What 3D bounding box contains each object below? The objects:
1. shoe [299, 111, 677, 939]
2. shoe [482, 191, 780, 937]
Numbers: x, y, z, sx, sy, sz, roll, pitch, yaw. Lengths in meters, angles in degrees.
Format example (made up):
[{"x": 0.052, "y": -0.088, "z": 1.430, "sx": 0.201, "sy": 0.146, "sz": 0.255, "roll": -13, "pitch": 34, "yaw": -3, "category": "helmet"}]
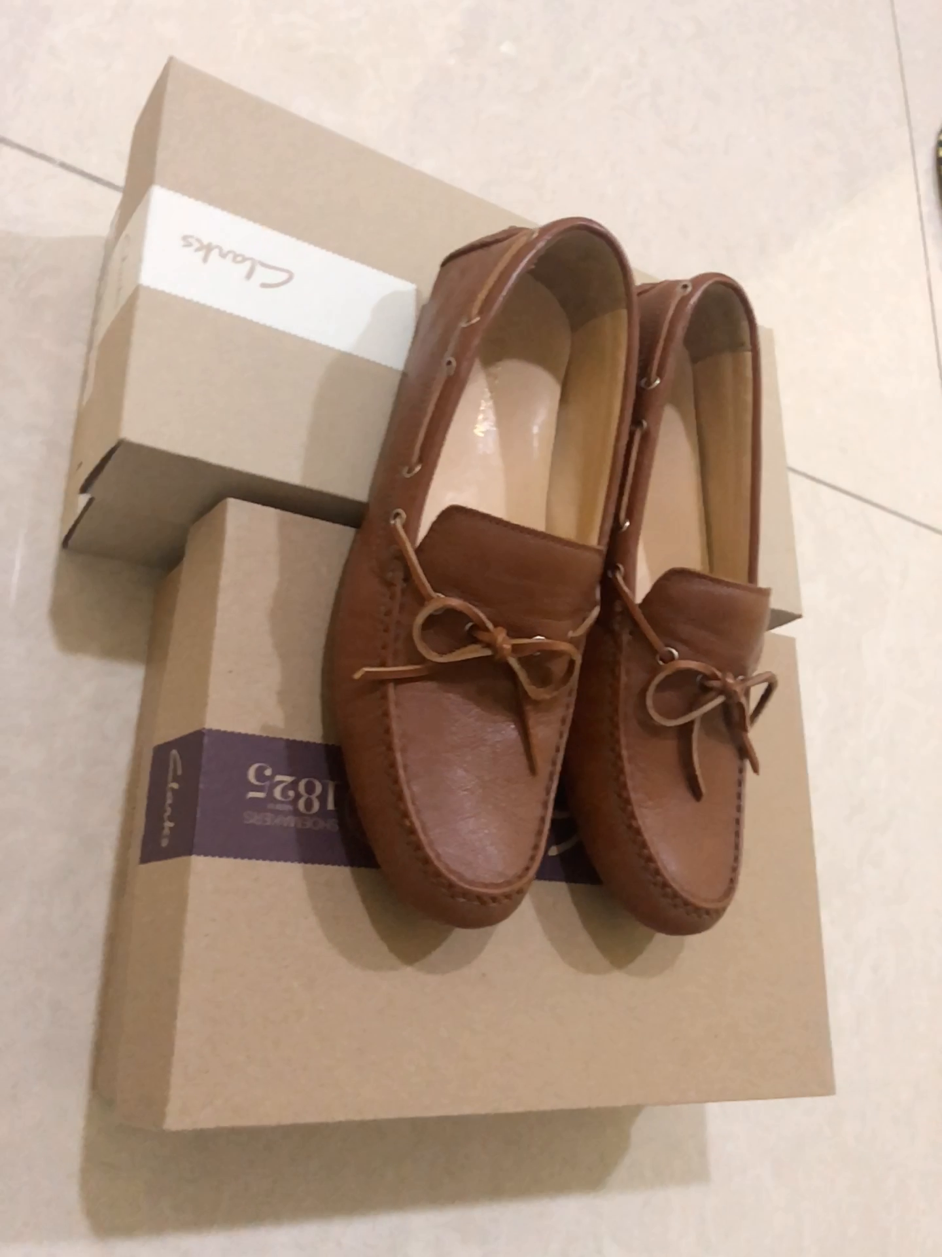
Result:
[{"x": 0.011, "y": -0.036, "z": 0.392, "sx": 0.080, "sy": 0.080, "sz": 0.280, "roll": 16, "pitch": 72, "yaw": -29, "category": "shoe"}, {"x": 0.065, "y": -0.022, "z": 0.432, "sx": 0.080, "sy": 0.080, "sz": 0.280, "roll": 10, "pitch": 75, "yaw": -31, "category": "shoe"}]
